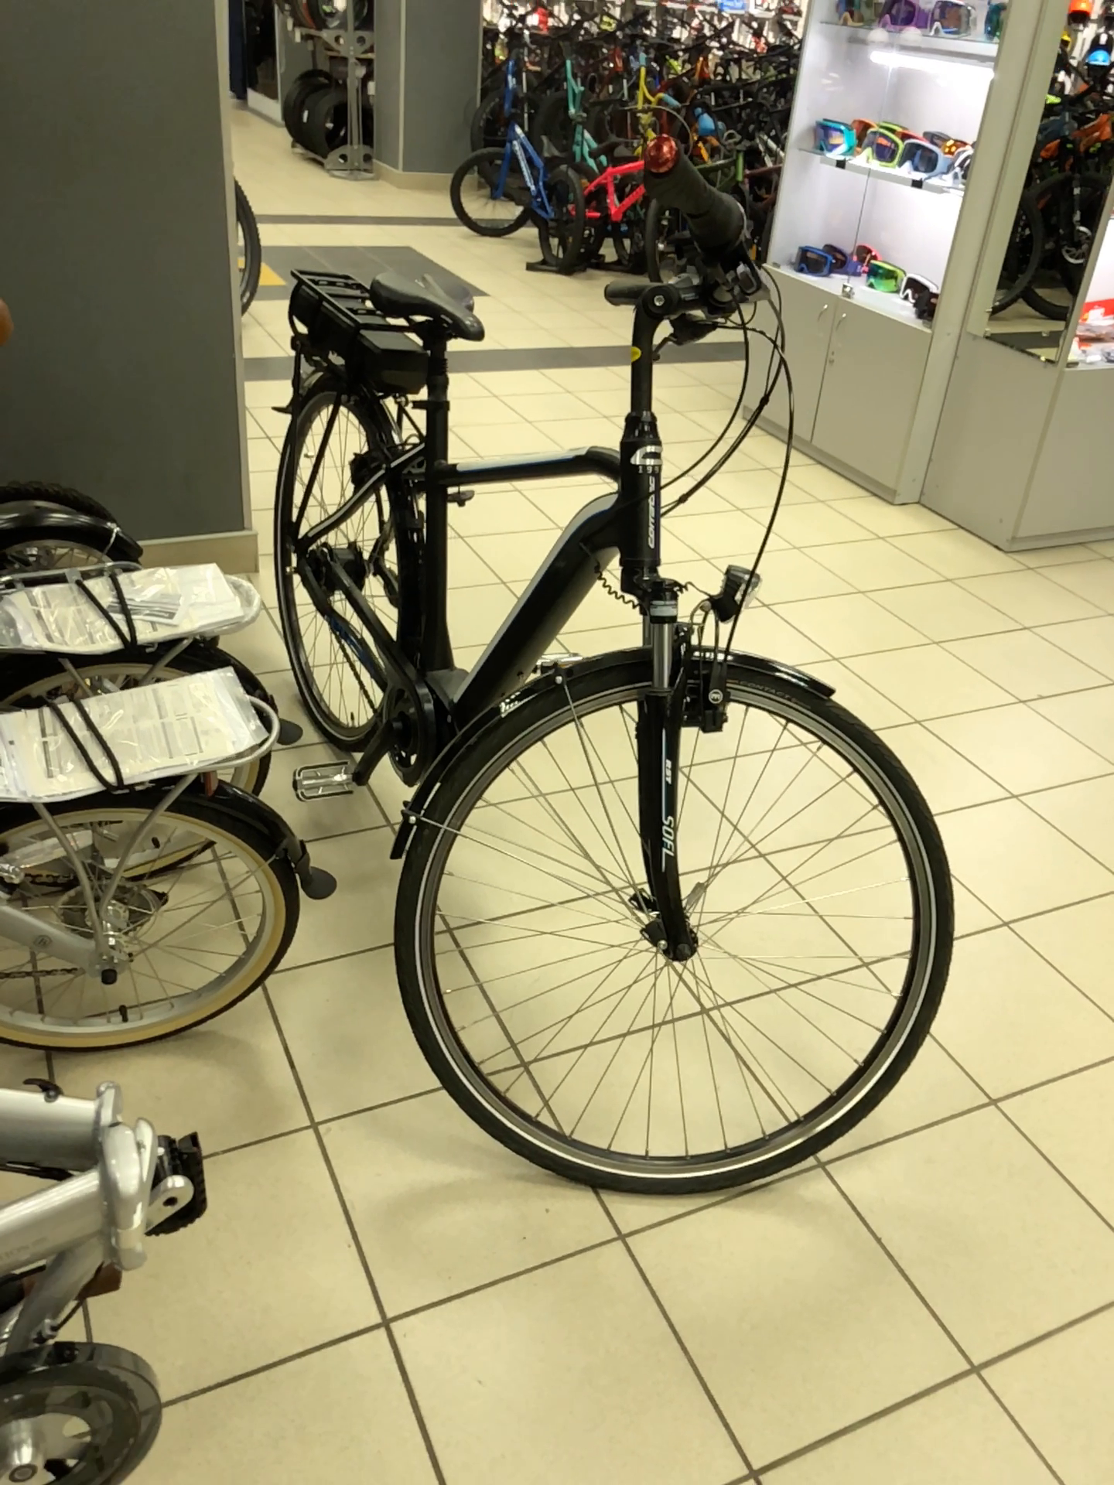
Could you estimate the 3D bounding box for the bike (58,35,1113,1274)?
[{"bbox_3d":[-0.041,-0.307,1.924,0.698,1.176,1.616,-19,41,-36],"label":"bike"}]
